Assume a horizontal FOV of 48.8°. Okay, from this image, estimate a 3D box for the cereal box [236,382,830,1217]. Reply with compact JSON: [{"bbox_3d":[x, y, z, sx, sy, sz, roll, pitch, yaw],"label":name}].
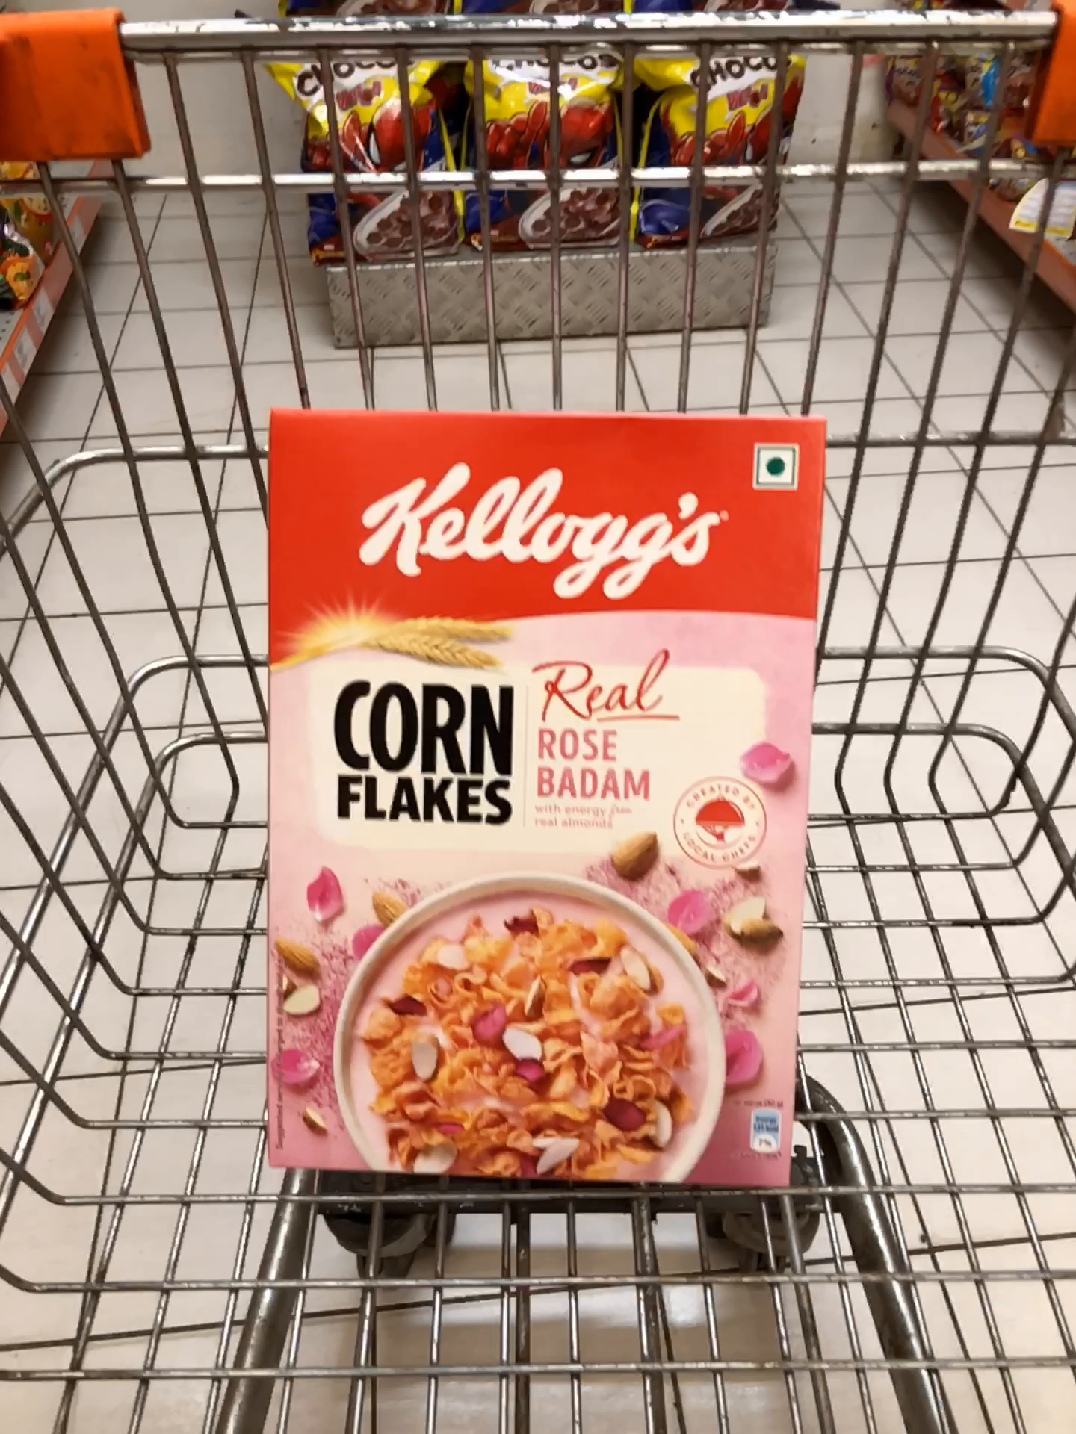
[{"bbox_3d":[-0.004,0.025,0.412,0.180,0.260,0.080,2,6,2],"label":"cereal box"}]
